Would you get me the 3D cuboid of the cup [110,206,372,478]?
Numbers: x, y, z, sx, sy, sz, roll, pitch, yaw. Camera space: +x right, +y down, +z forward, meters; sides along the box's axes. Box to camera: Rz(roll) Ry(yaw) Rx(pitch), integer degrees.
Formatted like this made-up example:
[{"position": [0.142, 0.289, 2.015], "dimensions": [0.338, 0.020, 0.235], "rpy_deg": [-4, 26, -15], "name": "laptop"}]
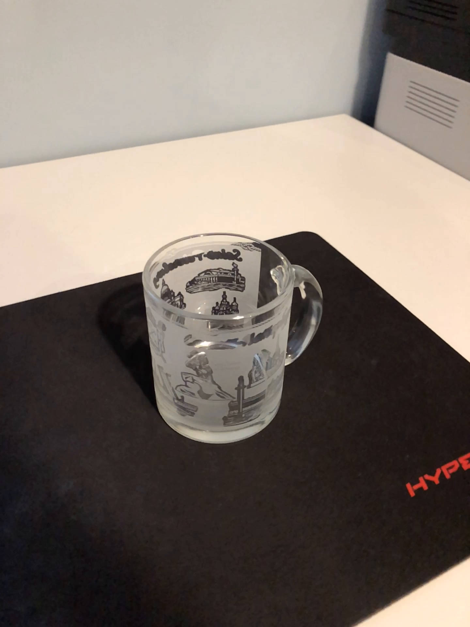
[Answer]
[{"position": [0.000, 0.013, 0.318], "dimensions": [0.116, 0.106, 0.090], "rpy_deg": [-16, 43, -20], "name": "cup"}]
